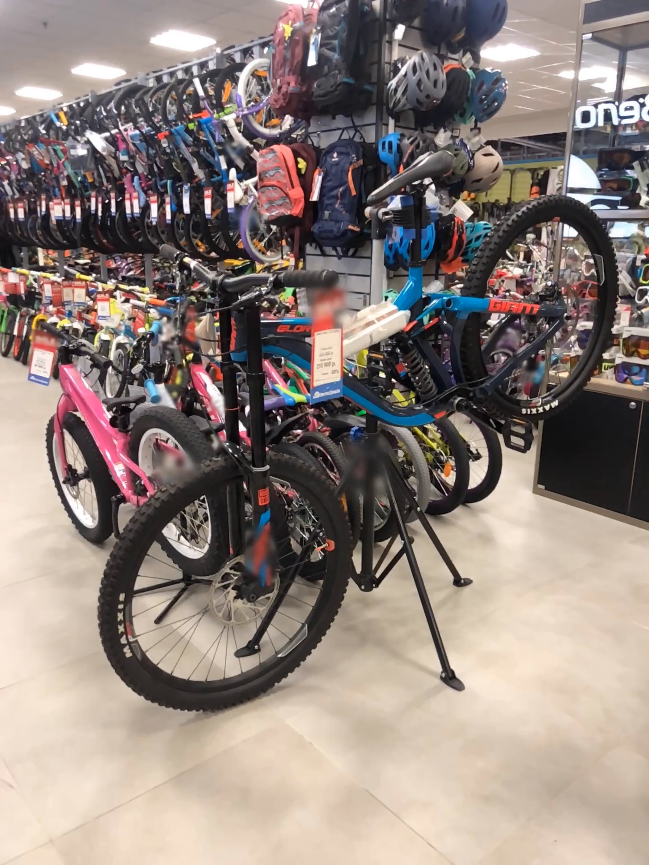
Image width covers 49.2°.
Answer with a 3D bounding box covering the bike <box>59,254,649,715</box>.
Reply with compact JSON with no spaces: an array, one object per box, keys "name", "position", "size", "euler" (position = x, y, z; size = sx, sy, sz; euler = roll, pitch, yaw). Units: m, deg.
[{"name":"bike","position":[0.066,-0.016,1.896],"size":[1.525,0.182,0.661],"euler":[-34,30,-19]}]
